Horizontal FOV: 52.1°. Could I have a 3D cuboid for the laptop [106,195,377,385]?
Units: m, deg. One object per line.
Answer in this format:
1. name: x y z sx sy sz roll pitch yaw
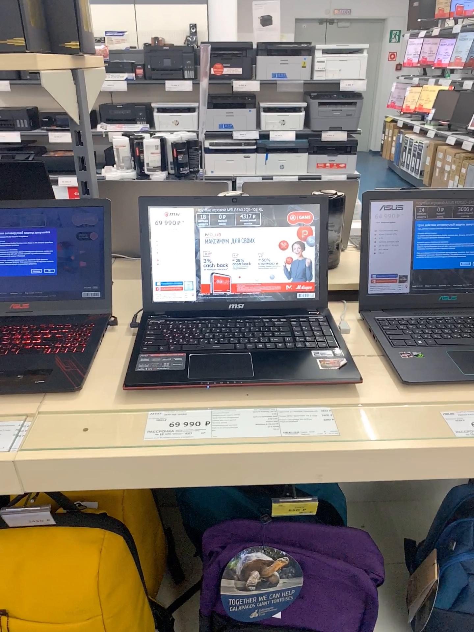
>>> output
1. laptop: 0.000 -0.064 0.816 0.355 0.197 0.314 -1 28 -3
